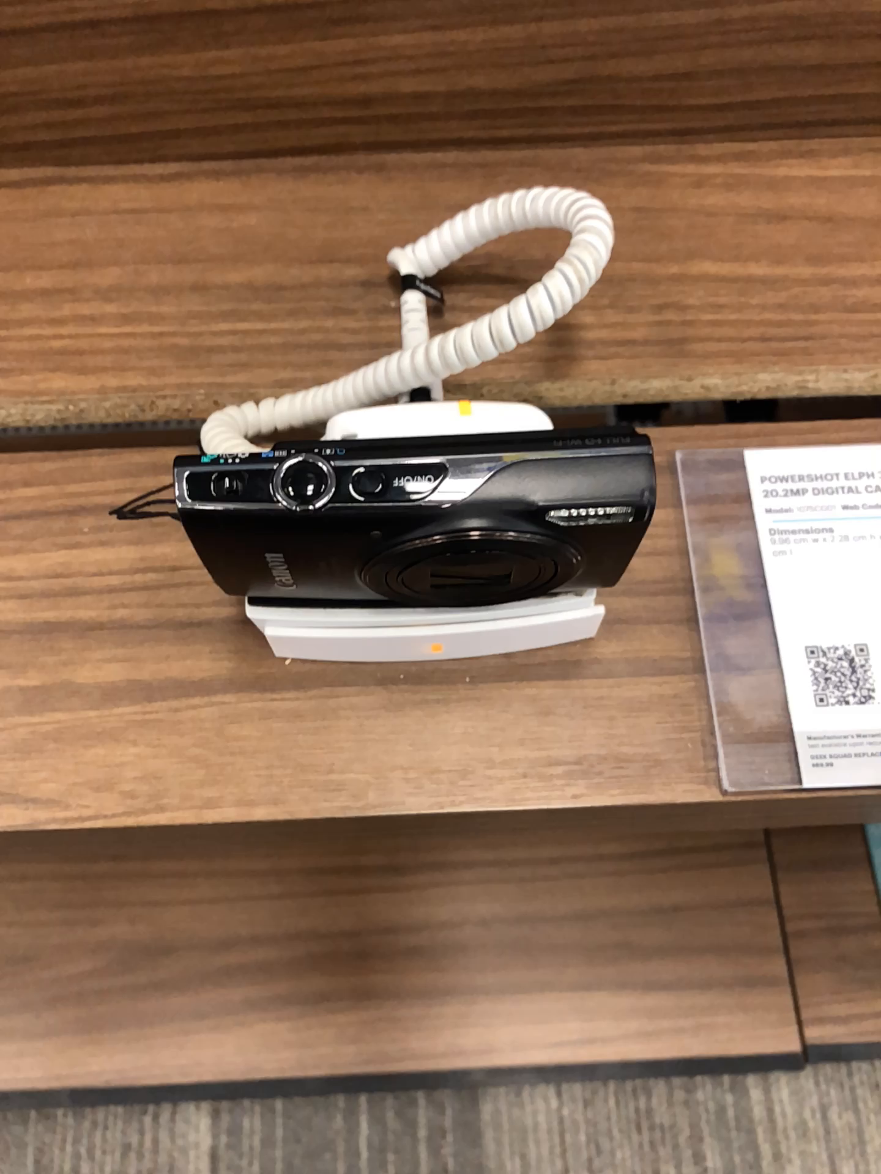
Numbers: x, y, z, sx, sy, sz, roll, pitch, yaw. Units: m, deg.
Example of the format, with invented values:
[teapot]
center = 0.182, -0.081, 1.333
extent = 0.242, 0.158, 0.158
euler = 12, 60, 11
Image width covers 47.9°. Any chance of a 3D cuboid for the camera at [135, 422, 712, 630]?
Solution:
[camera]
center = -0.004, -0.011, 0.220
extent = 0.110, 0.060, 0.020
euler = -3, 72, -2
